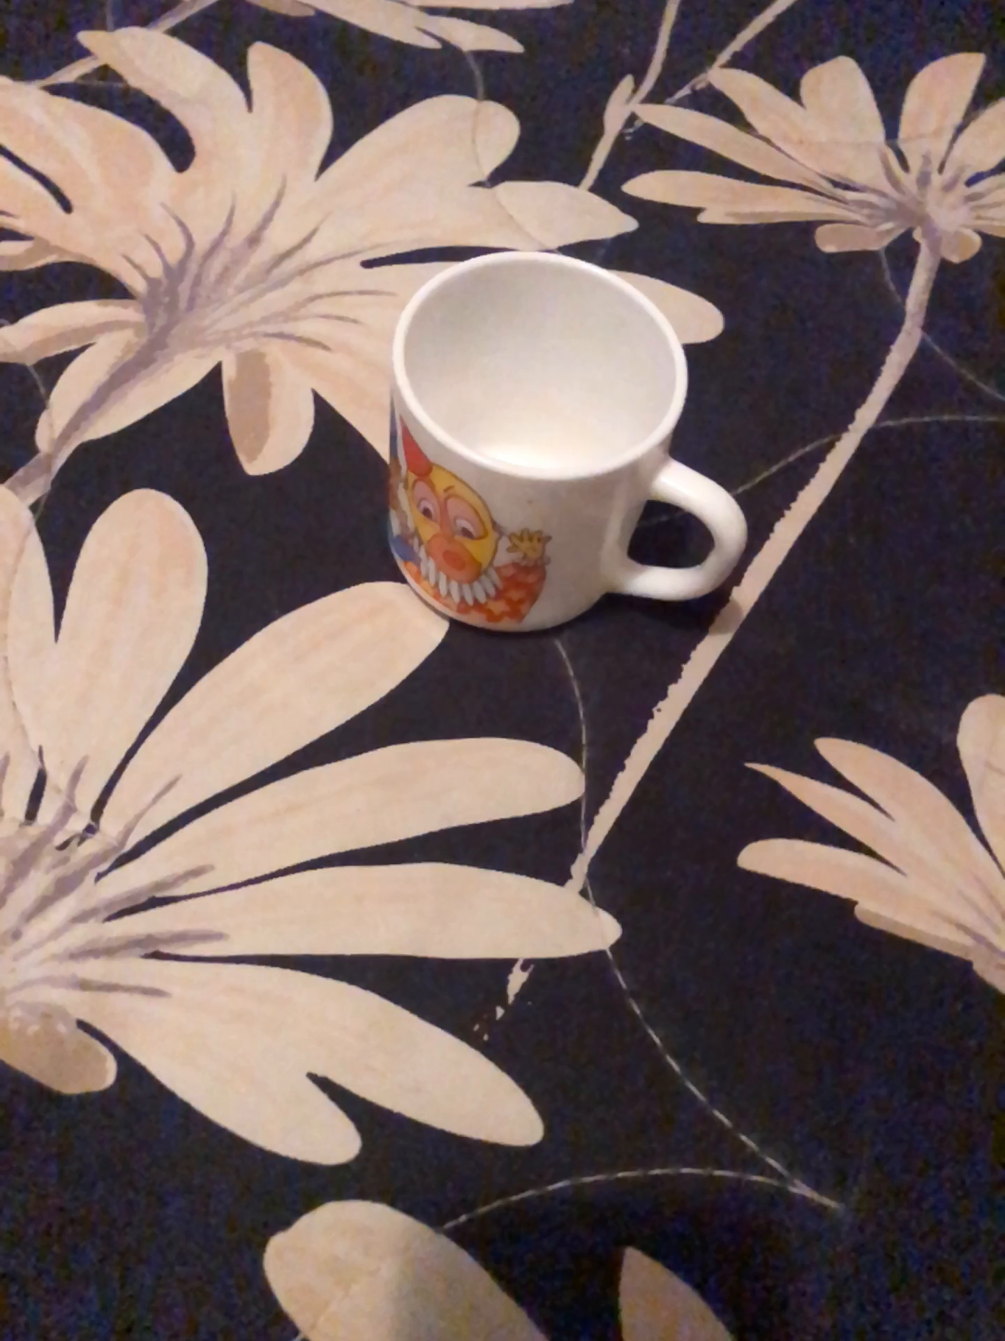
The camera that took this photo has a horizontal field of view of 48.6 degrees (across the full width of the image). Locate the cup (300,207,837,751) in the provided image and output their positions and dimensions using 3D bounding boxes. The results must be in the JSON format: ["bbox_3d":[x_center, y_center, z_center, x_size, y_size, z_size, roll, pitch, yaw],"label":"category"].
[{"bbox_3d":[0.015,-0.055,0.315,0.108,0.077,0.085,36,62,18],"label":"cup"}]
